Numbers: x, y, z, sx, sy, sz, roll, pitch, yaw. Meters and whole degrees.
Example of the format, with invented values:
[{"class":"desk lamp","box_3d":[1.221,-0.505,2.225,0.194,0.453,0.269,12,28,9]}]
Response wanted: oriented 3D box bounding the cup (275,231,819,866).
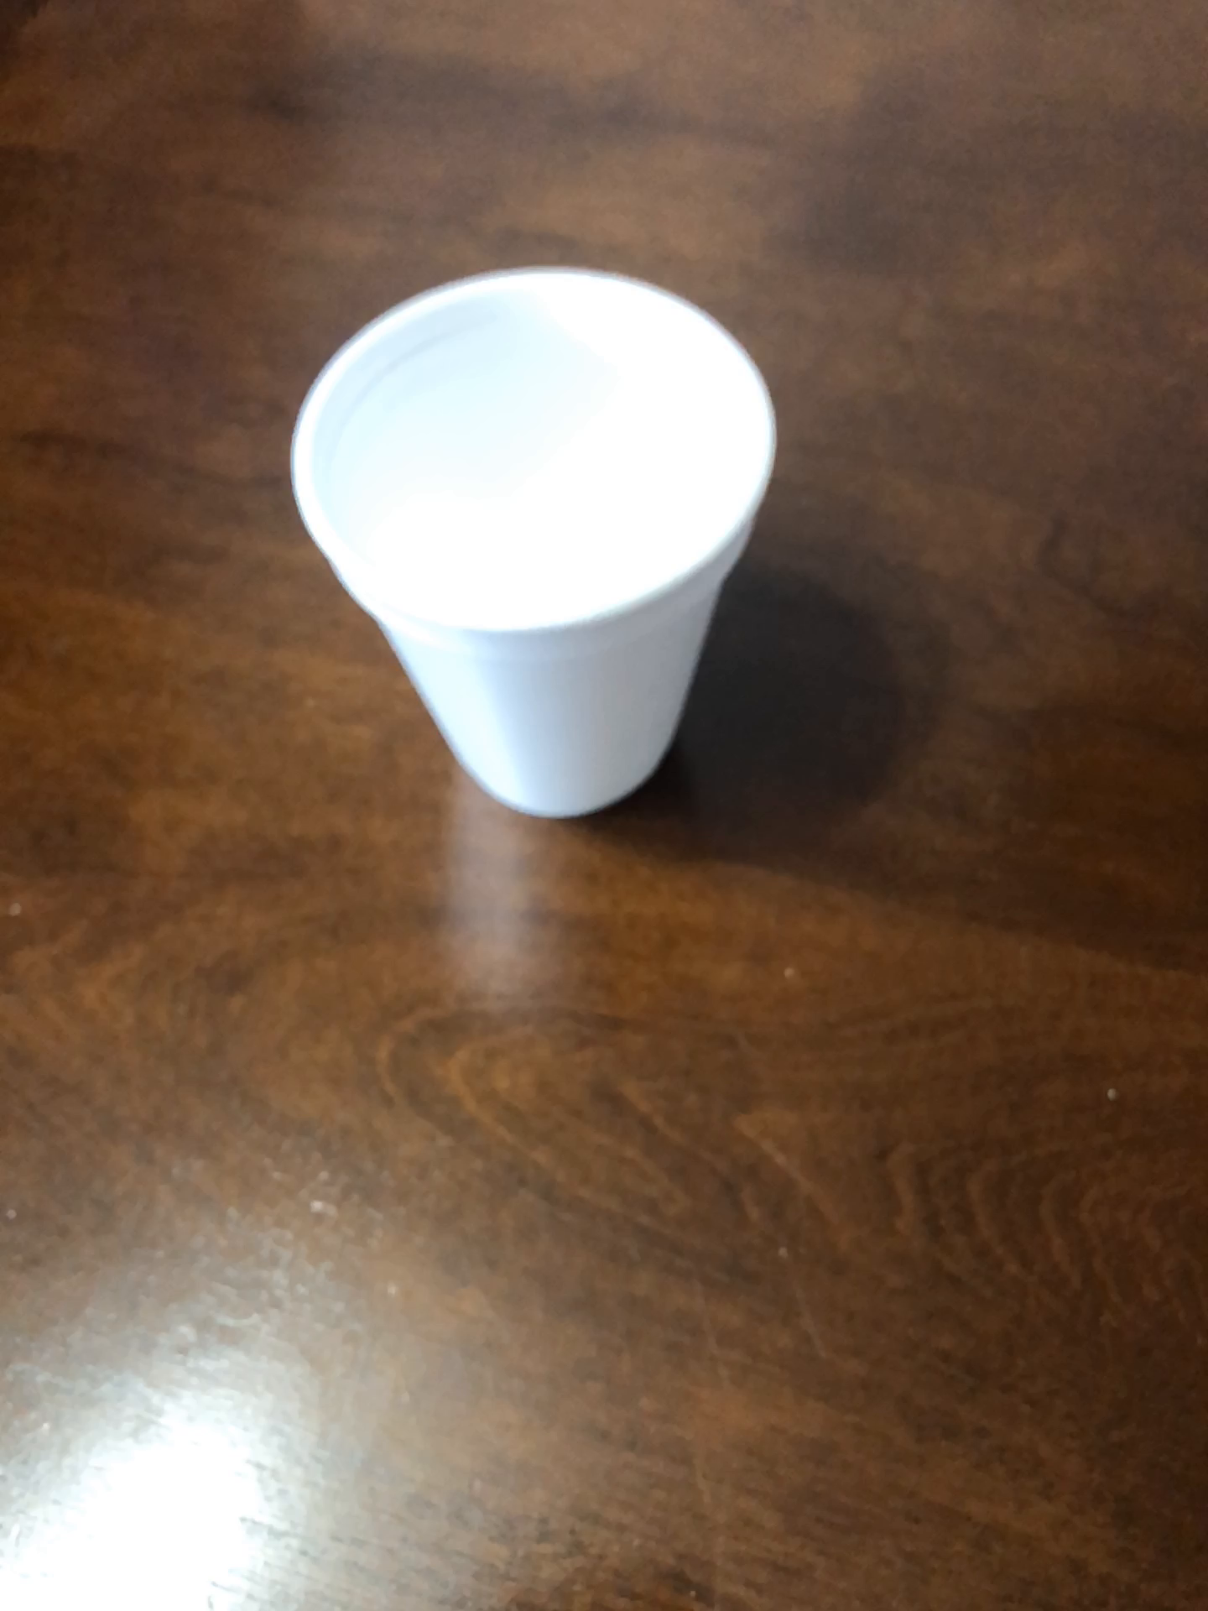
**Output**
[{"class":"cup","box_3d":[-0.008,-0.044,0.257,0.080,0.080,0.080,-1,59,2]}]
